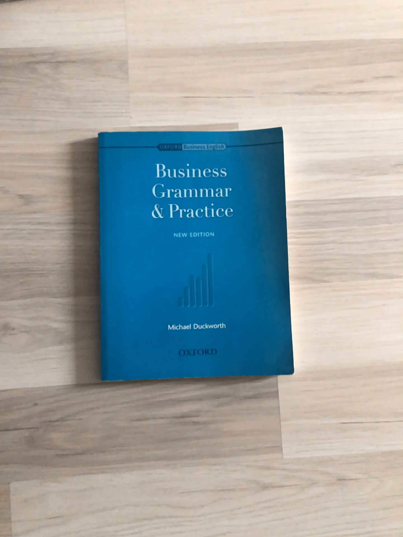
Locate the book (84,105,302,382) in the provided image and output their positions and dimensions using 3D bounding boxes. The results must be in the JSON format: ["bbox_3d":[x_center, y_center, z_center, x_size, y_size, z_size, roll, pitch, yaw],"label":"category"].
[{"bbox_3d":[-0.012,-0.031,0.505,0.230,0.040,0.300,-1,85,-3],"label":"book"}]
